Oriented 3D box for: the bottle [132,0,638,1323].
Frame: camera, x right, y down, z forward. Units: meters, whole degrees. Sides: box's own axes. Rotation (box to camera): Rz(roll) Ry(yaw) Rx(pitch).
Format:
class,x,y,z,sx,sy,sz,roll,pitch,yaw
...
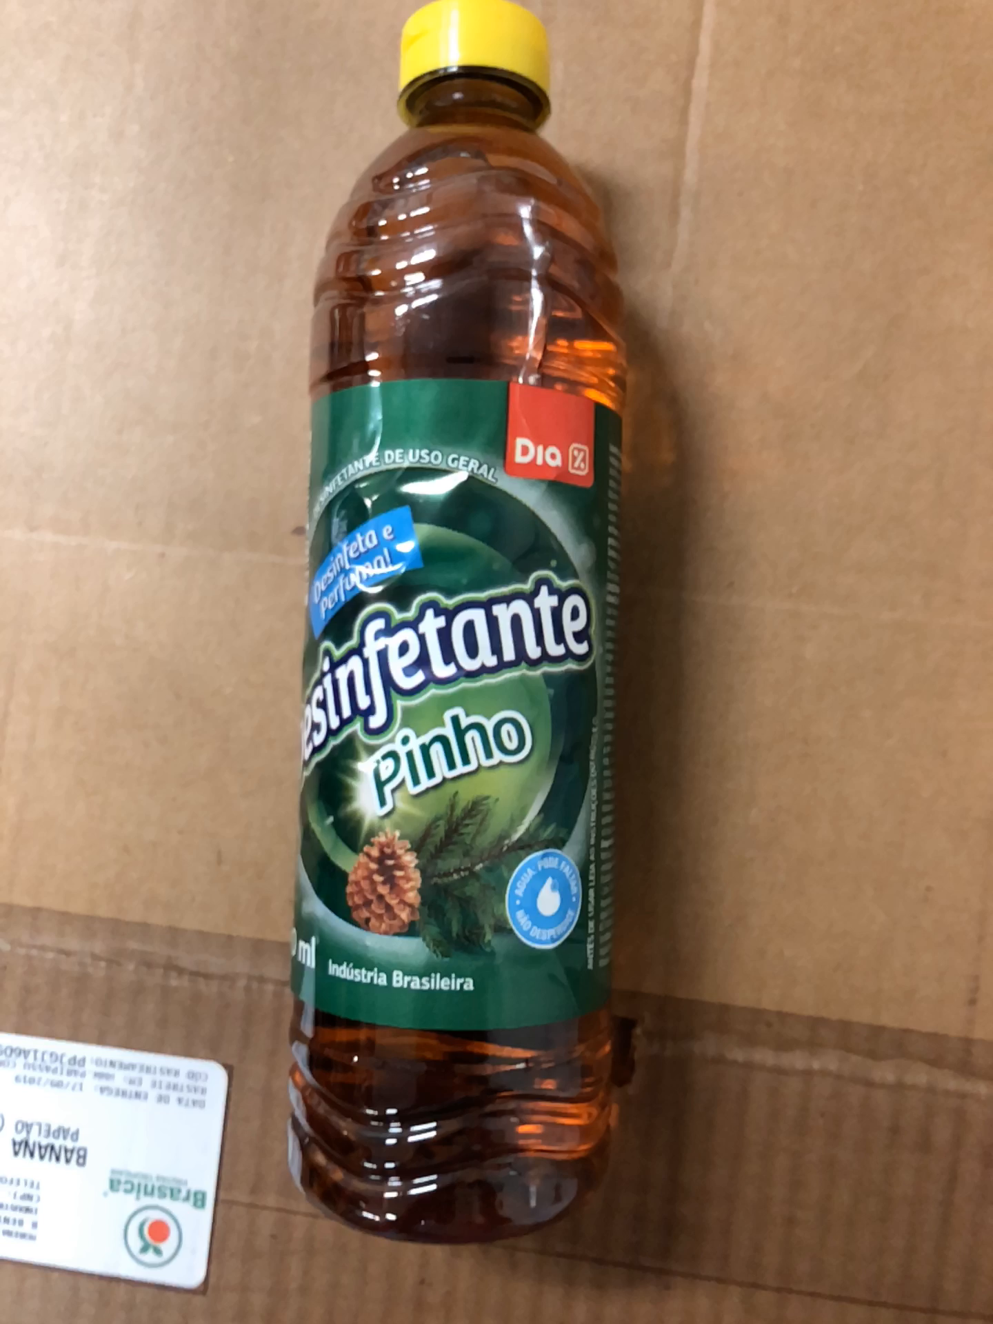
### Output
class,x,y,z,sx,sy,sz,roll,pitch,yaw
bottle,-0.013,-0.010,0.202,0.060,0.070,0.220,0,85,19
